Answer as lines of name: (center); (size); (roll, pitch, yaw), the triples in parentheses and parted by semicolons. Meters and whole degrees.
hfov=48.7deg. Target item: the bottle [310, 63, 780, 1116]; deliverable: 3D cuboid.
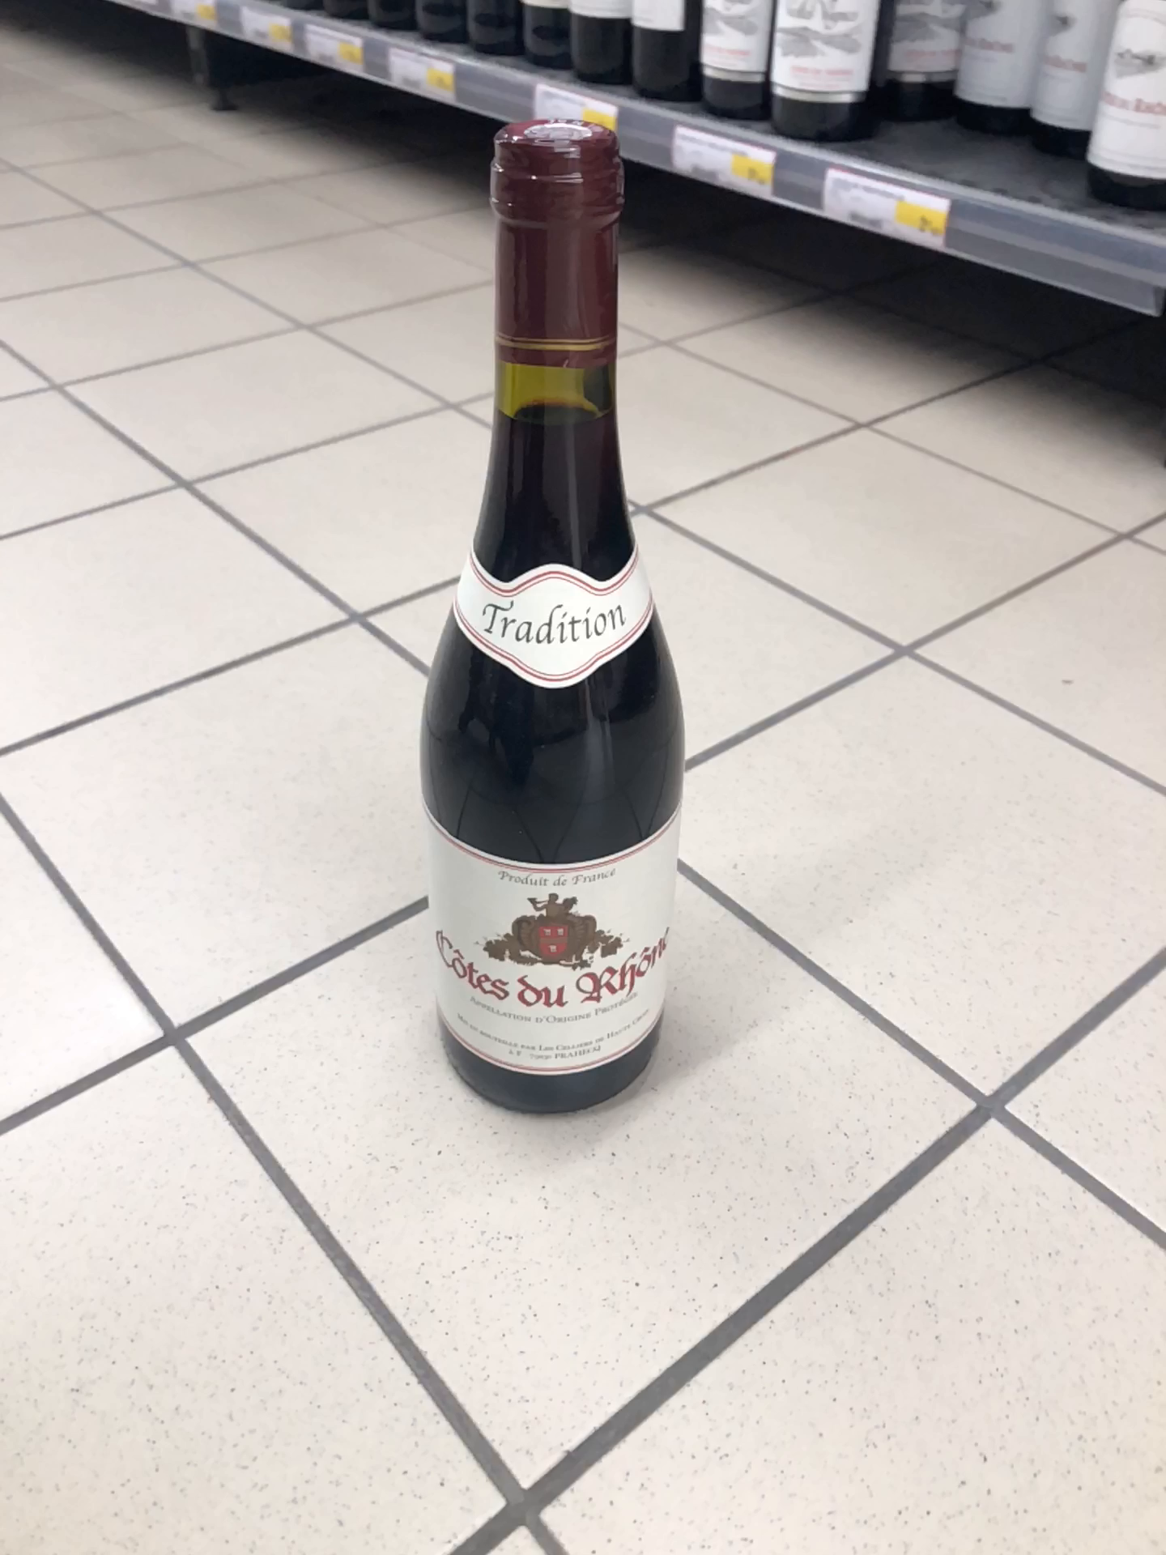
bottle: (-0.011, -0.034, 0.369); (0.090, 0.288, 0.091); (1, 37, 0)
